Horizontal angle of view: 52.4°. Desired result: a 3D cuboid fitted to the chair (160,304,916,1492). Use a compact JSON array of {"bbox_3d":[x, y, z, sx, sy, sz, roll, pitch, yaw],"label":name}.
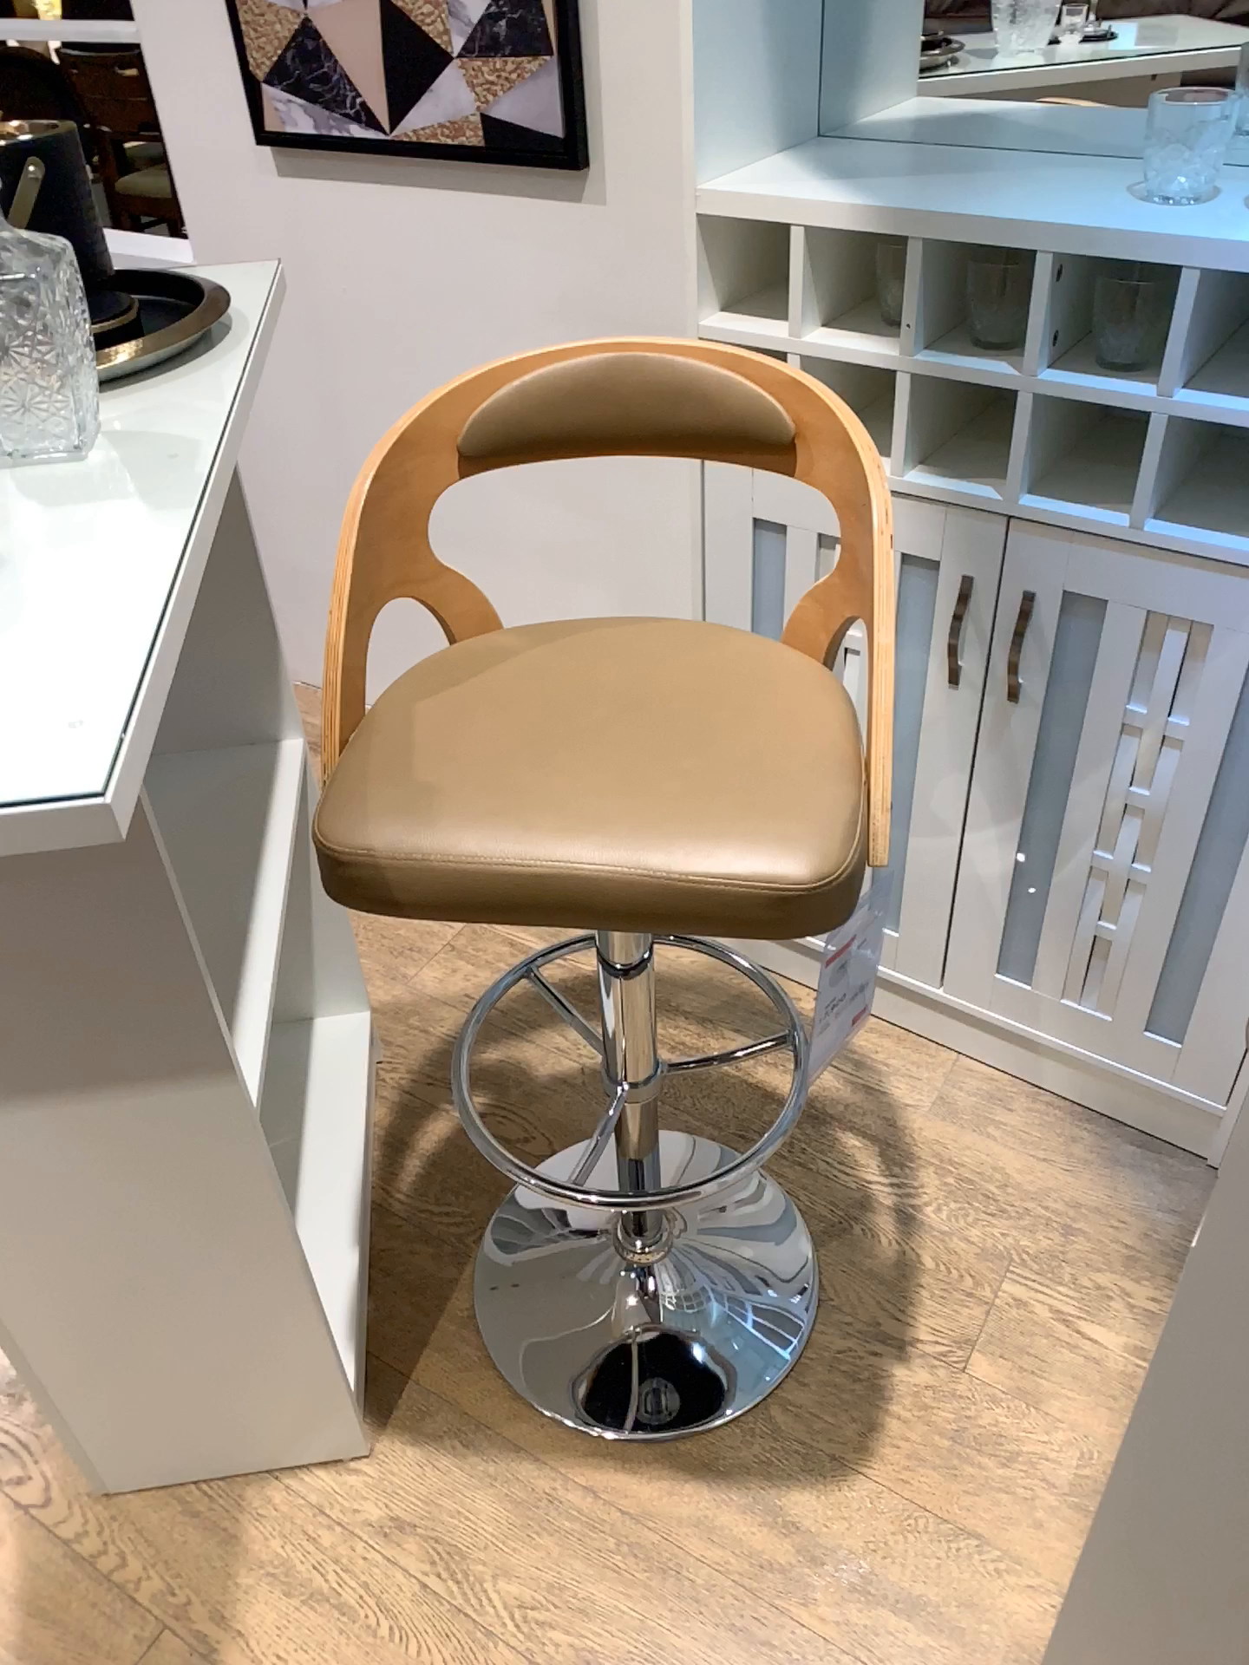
[{"bbox_3d":[-0.001,0.109,1.219,0.430,1.046,0.462,6,38,11],"label":"chair"}]
